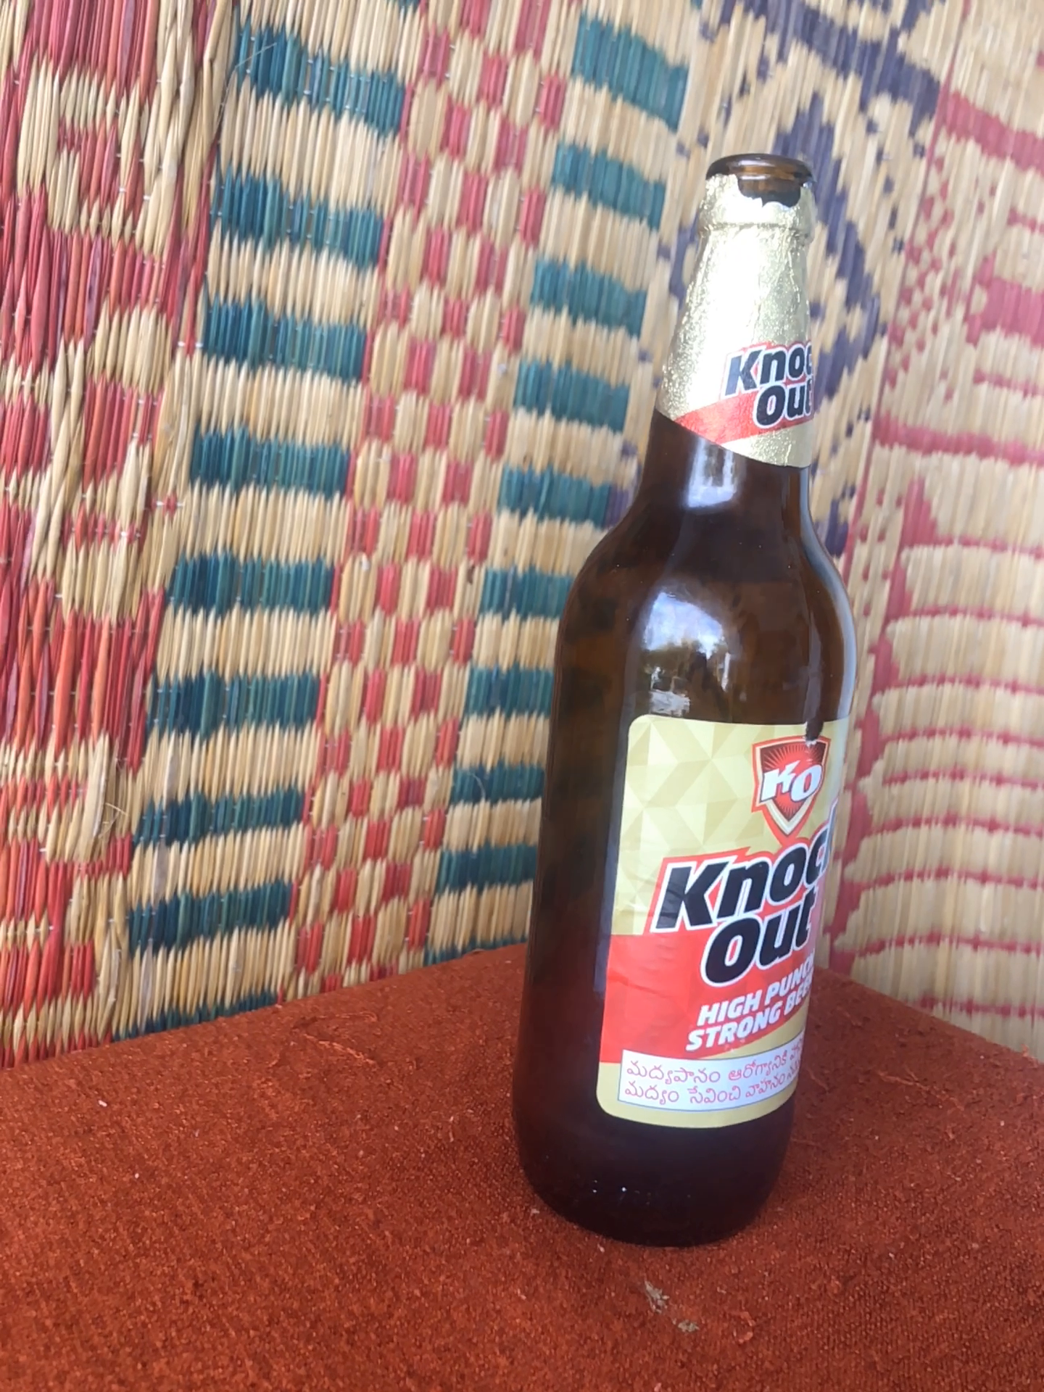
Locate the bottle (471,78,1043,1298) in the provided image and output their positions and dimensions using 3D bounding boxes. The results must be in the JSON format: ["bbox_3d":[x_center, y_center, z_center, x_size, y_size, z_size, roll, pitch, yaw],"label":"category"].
[{"bbox_3d":[0.053,0.001,0.280,0.070,0.249,0.070,8,10,-1],"label":"bottle"}]
